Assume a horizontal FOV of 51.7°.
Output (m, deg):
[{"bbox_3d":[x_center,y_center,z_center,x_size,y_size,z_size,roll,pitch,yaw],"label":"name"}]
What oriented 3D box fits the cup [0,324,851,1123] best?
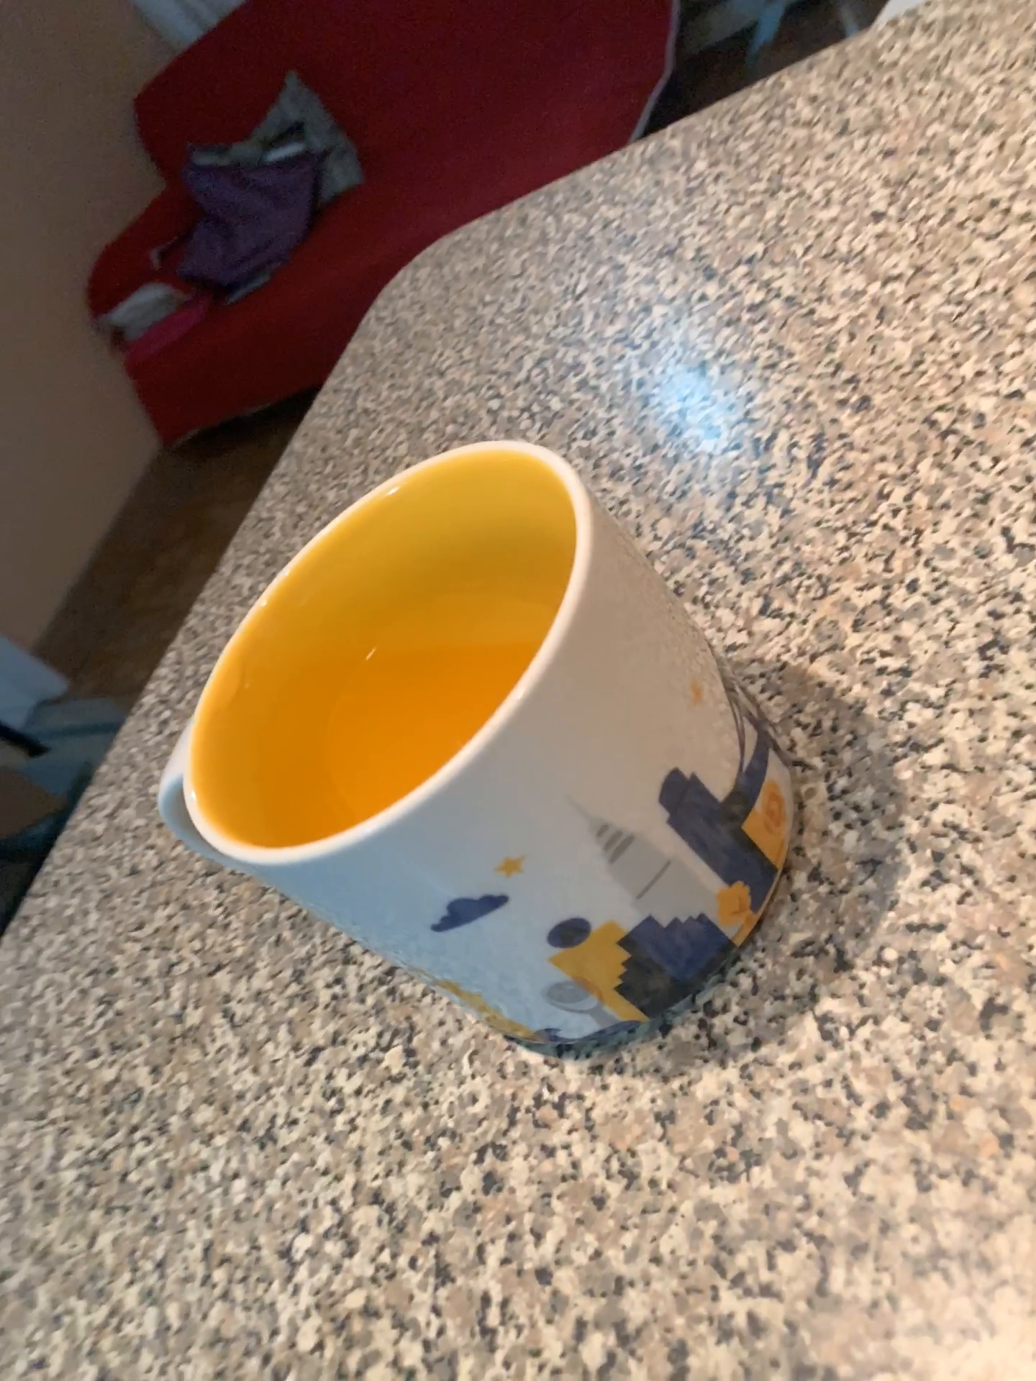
[{"bbox_3d":[-0.020,0.016,0.231,0.139,0.087,0.103,-24,43,28],"label":"cup"}]
